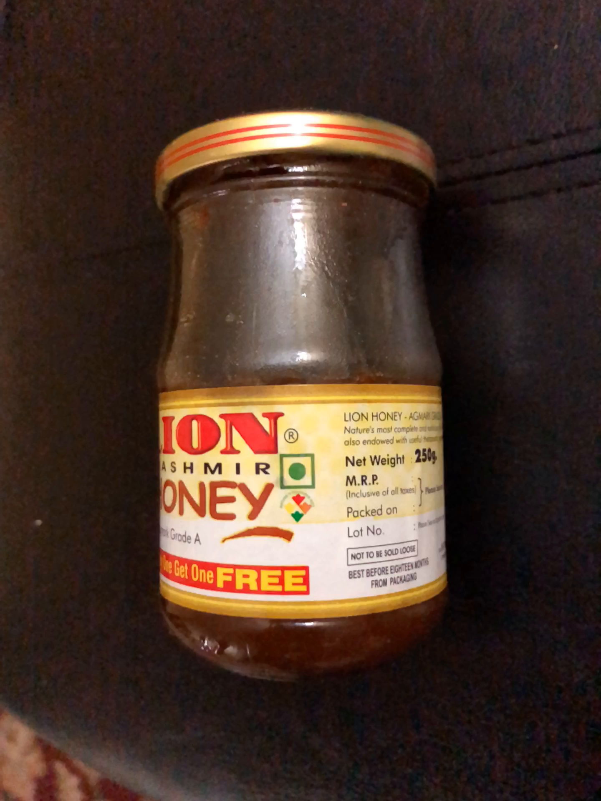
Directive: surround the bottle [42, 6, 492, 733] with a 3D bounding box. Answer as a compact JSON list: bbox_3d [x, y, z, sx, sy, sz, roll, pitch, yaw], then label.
[{"bbox_3d":[-0.007,-0.003,0.152,0.069,0.070,0.110,-3,85,45],"label":"bottle"}]
